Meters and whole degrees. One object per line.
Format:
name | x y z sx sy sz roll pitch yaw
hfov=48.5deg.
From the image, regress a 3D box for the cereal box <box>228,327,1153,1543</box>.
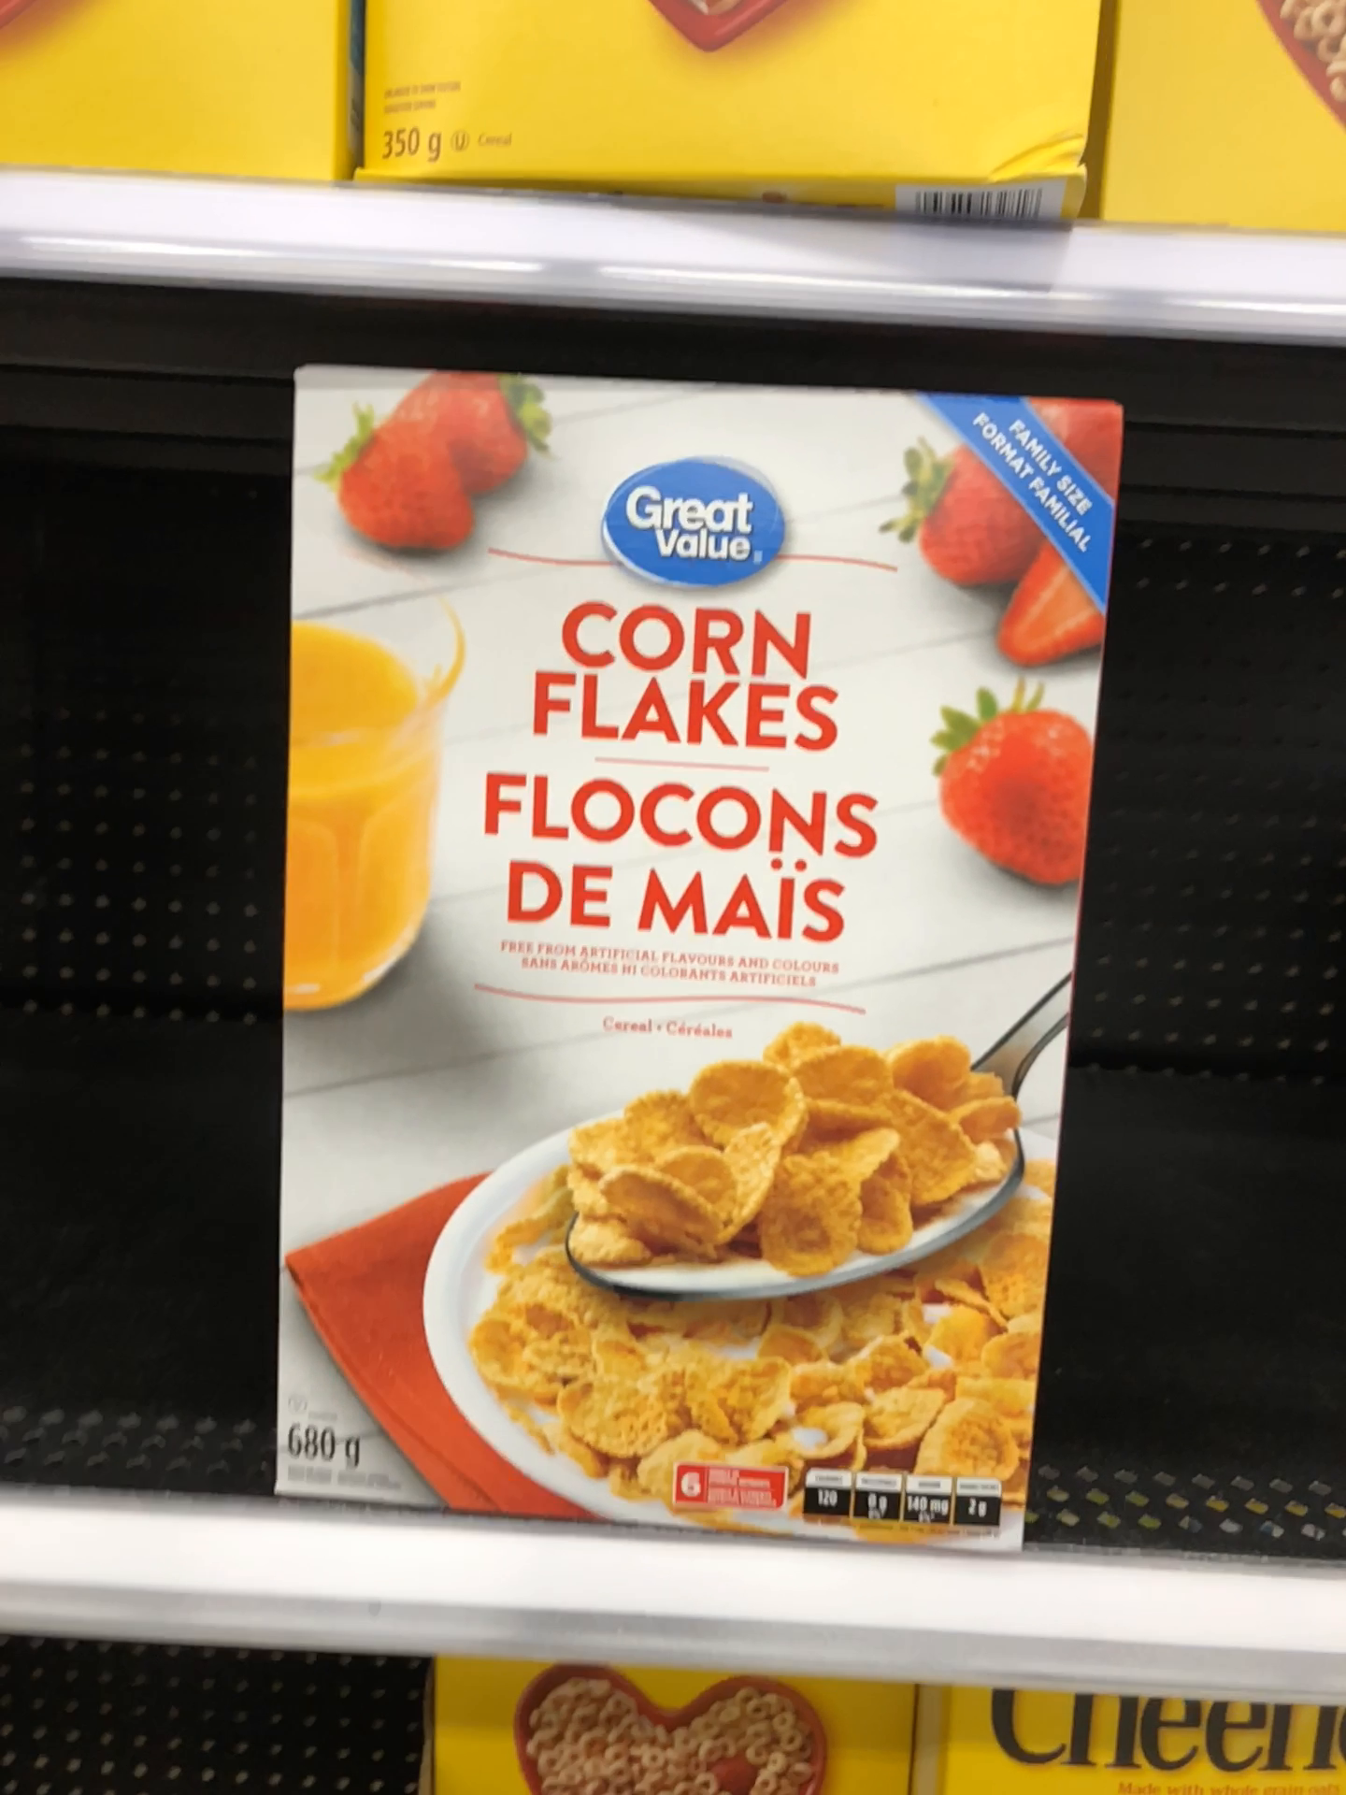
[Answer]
cereal box | -0.002 0.011 0.460 0.240 0.329 0.090 3 9 2
